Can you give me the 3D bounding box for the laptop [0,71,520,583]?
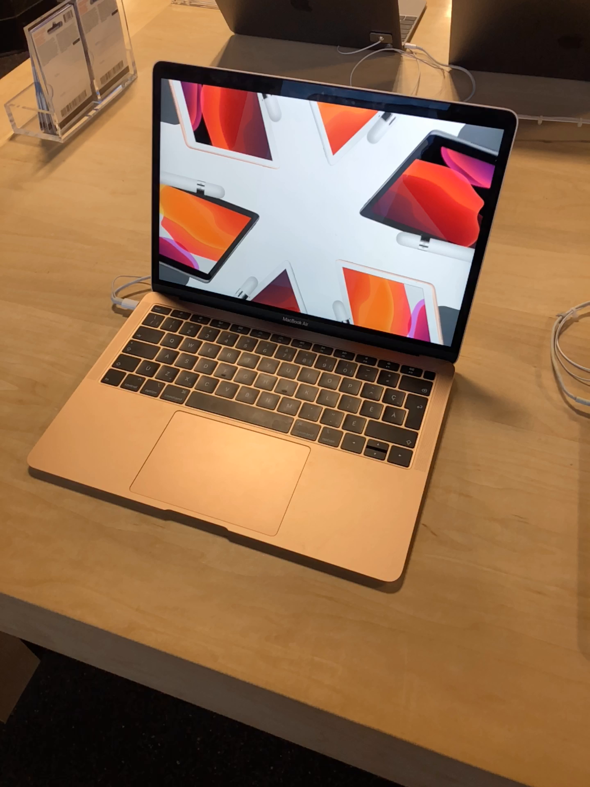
[{"bbox_3d":[-0.023,-0.071,0.484,0.292,0.183,0.284,15,51,15],"label":"laptop"}]
